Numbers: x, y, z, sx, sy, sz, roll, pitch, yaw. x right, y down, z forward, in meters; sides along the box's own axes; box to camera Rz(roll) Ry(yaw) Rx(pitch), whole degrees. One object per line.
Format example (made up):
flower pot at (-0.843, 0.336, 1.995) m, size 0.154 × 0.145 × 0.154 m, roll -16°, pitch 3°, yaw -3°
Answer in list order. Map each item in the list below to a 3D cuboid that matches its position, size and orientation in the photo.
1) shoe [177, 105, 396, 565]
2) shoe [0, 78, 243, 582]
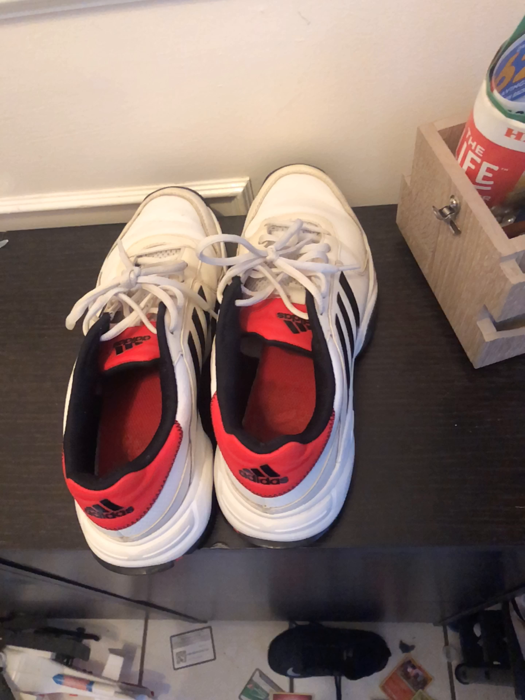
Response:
shoe at (0.026, -0.022, 0.409) m, size 0.110 × 0.100 × 0.311 m, roll -1°, pitch 61°, yaw 8°
shoe at (-0.077, -0.023, 0.378) m, size 0.110 × 0.110 × 0.311 m, roll -4°, pitch 61°, yaw 6°
